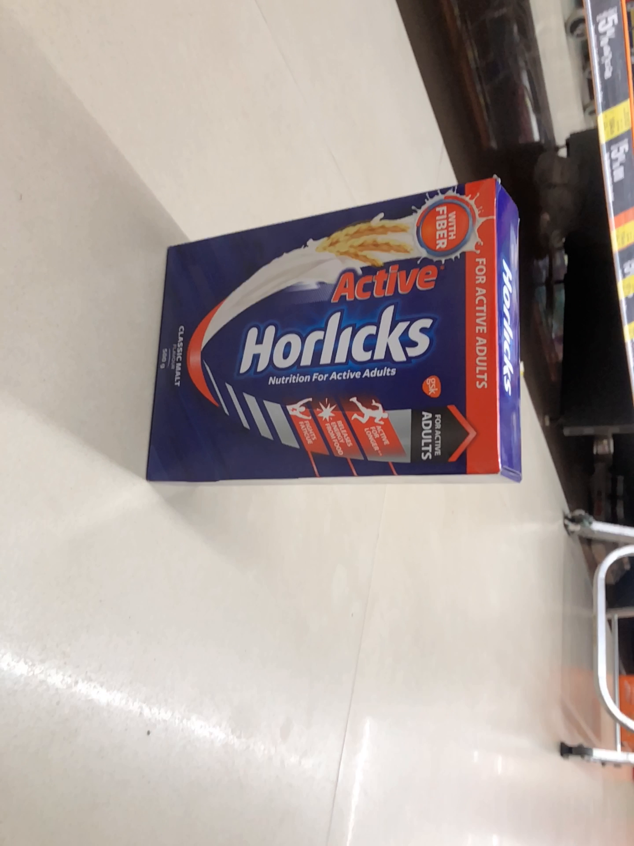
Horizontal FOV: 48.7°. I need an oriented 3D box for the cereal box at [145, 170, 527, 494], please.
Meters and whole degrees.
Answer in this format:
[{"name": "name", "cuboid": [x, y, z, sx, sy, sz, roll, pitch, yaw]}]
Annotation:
[{"name": "cereal box", "cuboid": [0.007, -0.036, 0.365, 0.050, 0.189, 0.140, 22, 68, -62]}]
